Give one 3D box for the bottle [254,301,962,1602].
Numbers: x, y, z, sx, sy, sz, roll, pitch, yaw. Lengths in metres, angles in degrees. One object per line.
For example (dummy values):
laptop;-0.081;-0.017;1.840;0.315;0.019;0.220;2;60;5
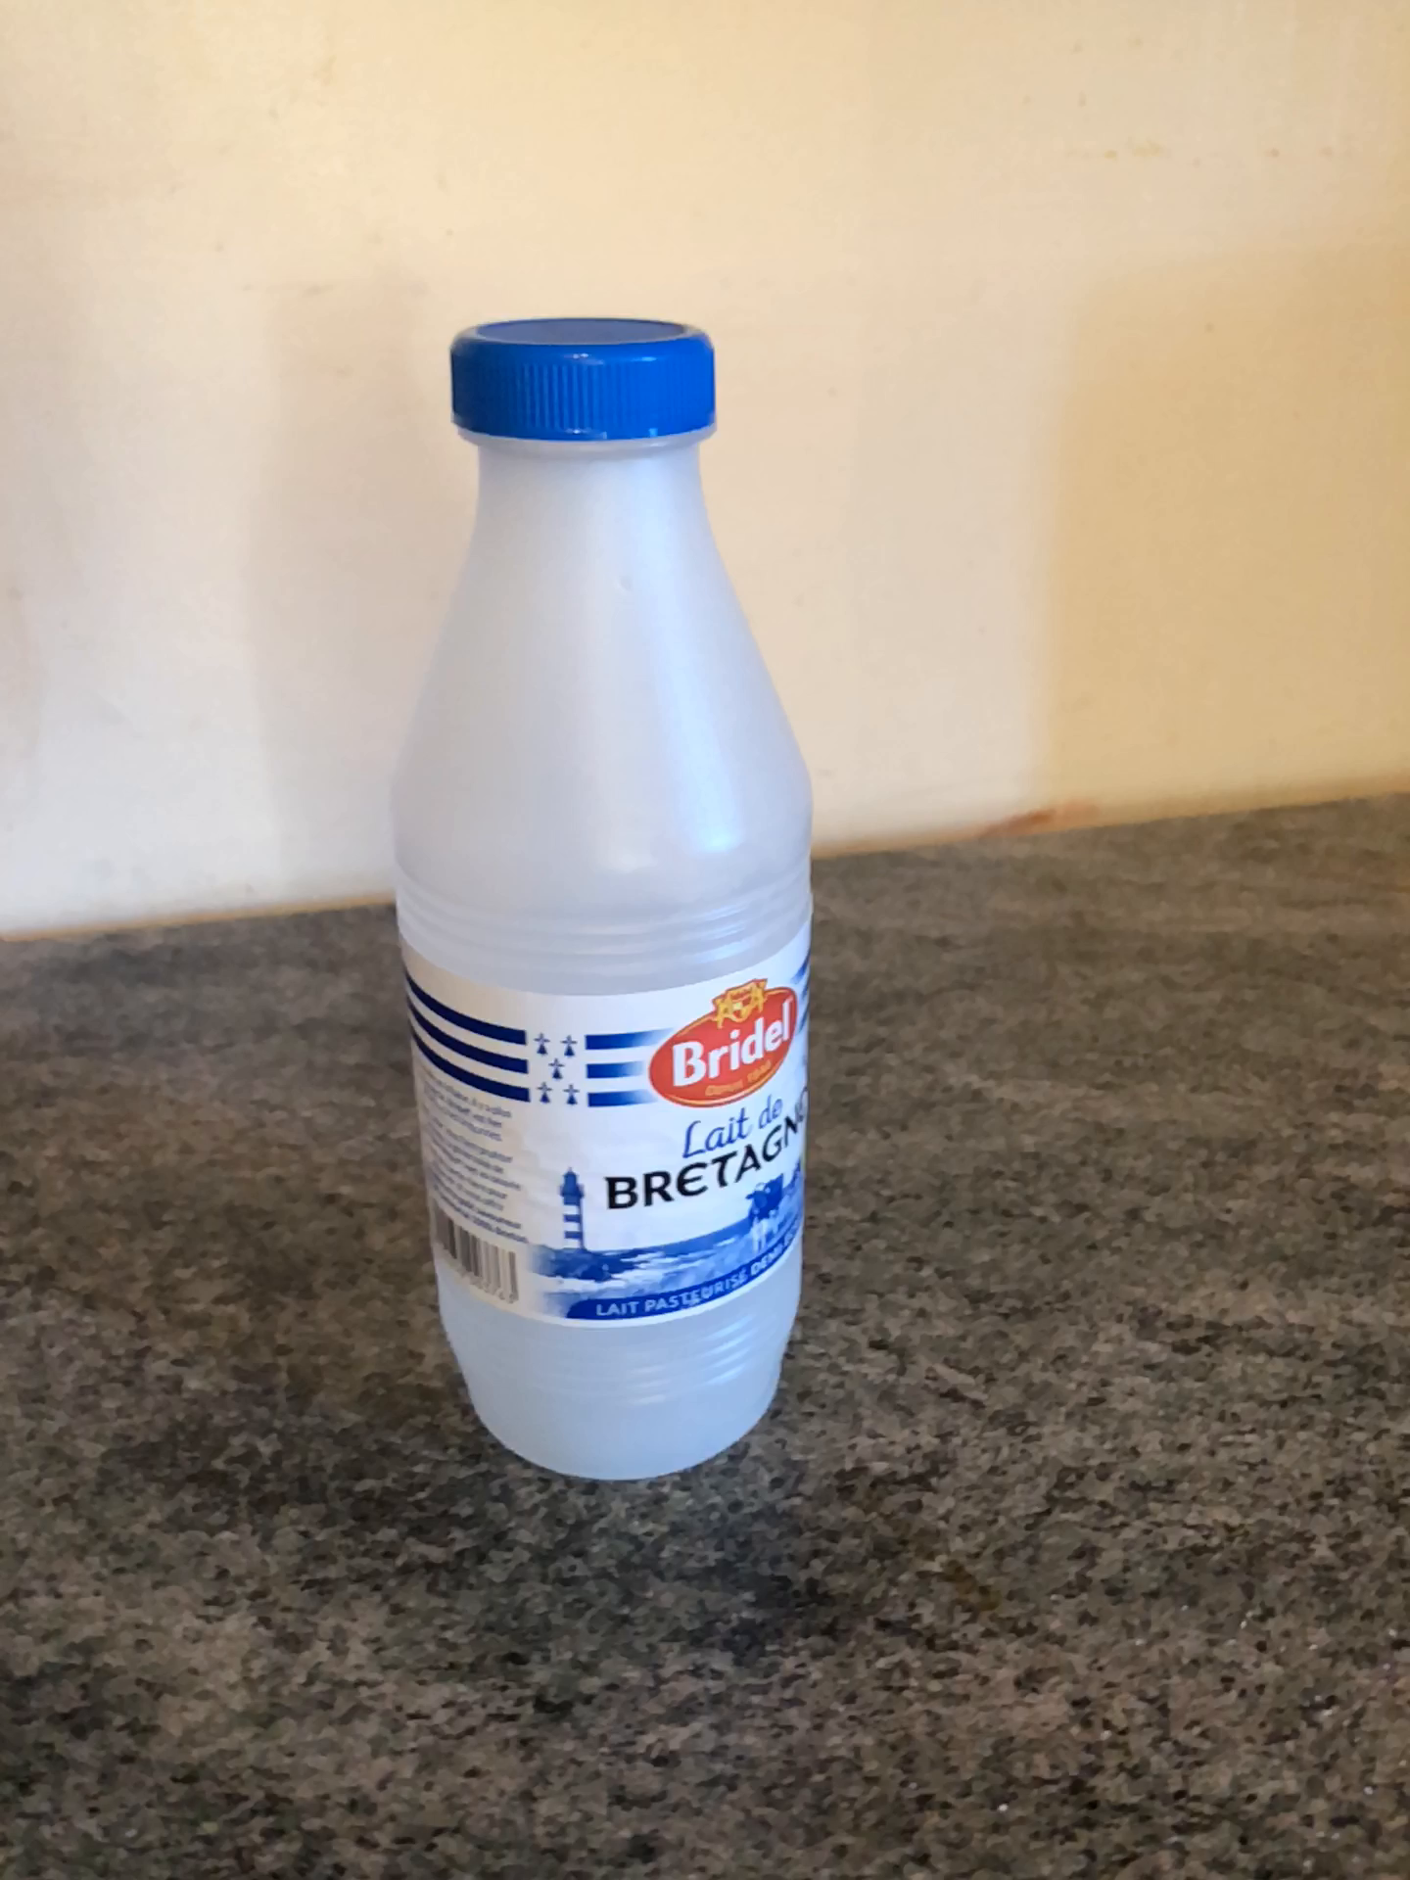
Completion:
bottle;-0.019;0.000;0.326;0.090;0.239;0.090;0;25;0
